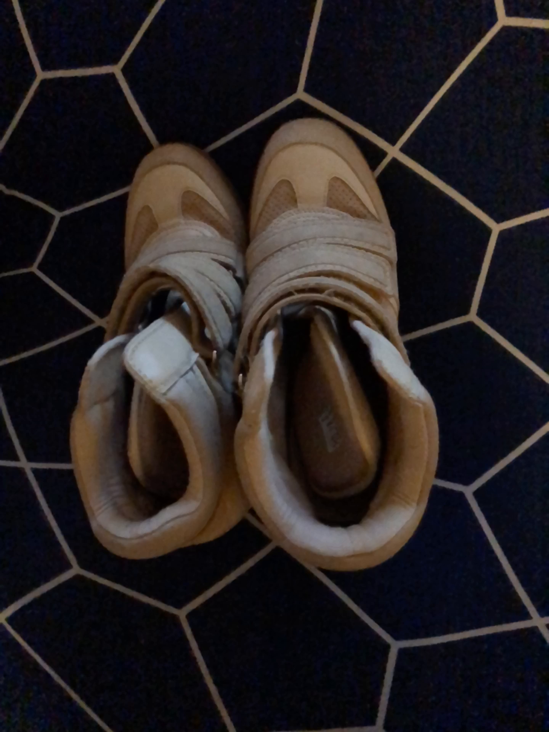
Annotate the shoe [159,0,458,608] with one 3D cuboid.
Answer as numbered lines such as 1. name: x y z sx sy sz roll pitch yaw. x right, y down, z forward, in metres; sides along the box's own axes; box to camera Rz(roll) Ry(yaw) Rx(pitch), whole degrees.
1. shoe: 0.017 -0.038 0.314 0.100 0.130 0.280 -7 78 10

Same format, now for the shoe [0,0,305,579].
1. shoe: -0.062 -0.034 0.336 0.100 0.140 0.260 -10 78 9
